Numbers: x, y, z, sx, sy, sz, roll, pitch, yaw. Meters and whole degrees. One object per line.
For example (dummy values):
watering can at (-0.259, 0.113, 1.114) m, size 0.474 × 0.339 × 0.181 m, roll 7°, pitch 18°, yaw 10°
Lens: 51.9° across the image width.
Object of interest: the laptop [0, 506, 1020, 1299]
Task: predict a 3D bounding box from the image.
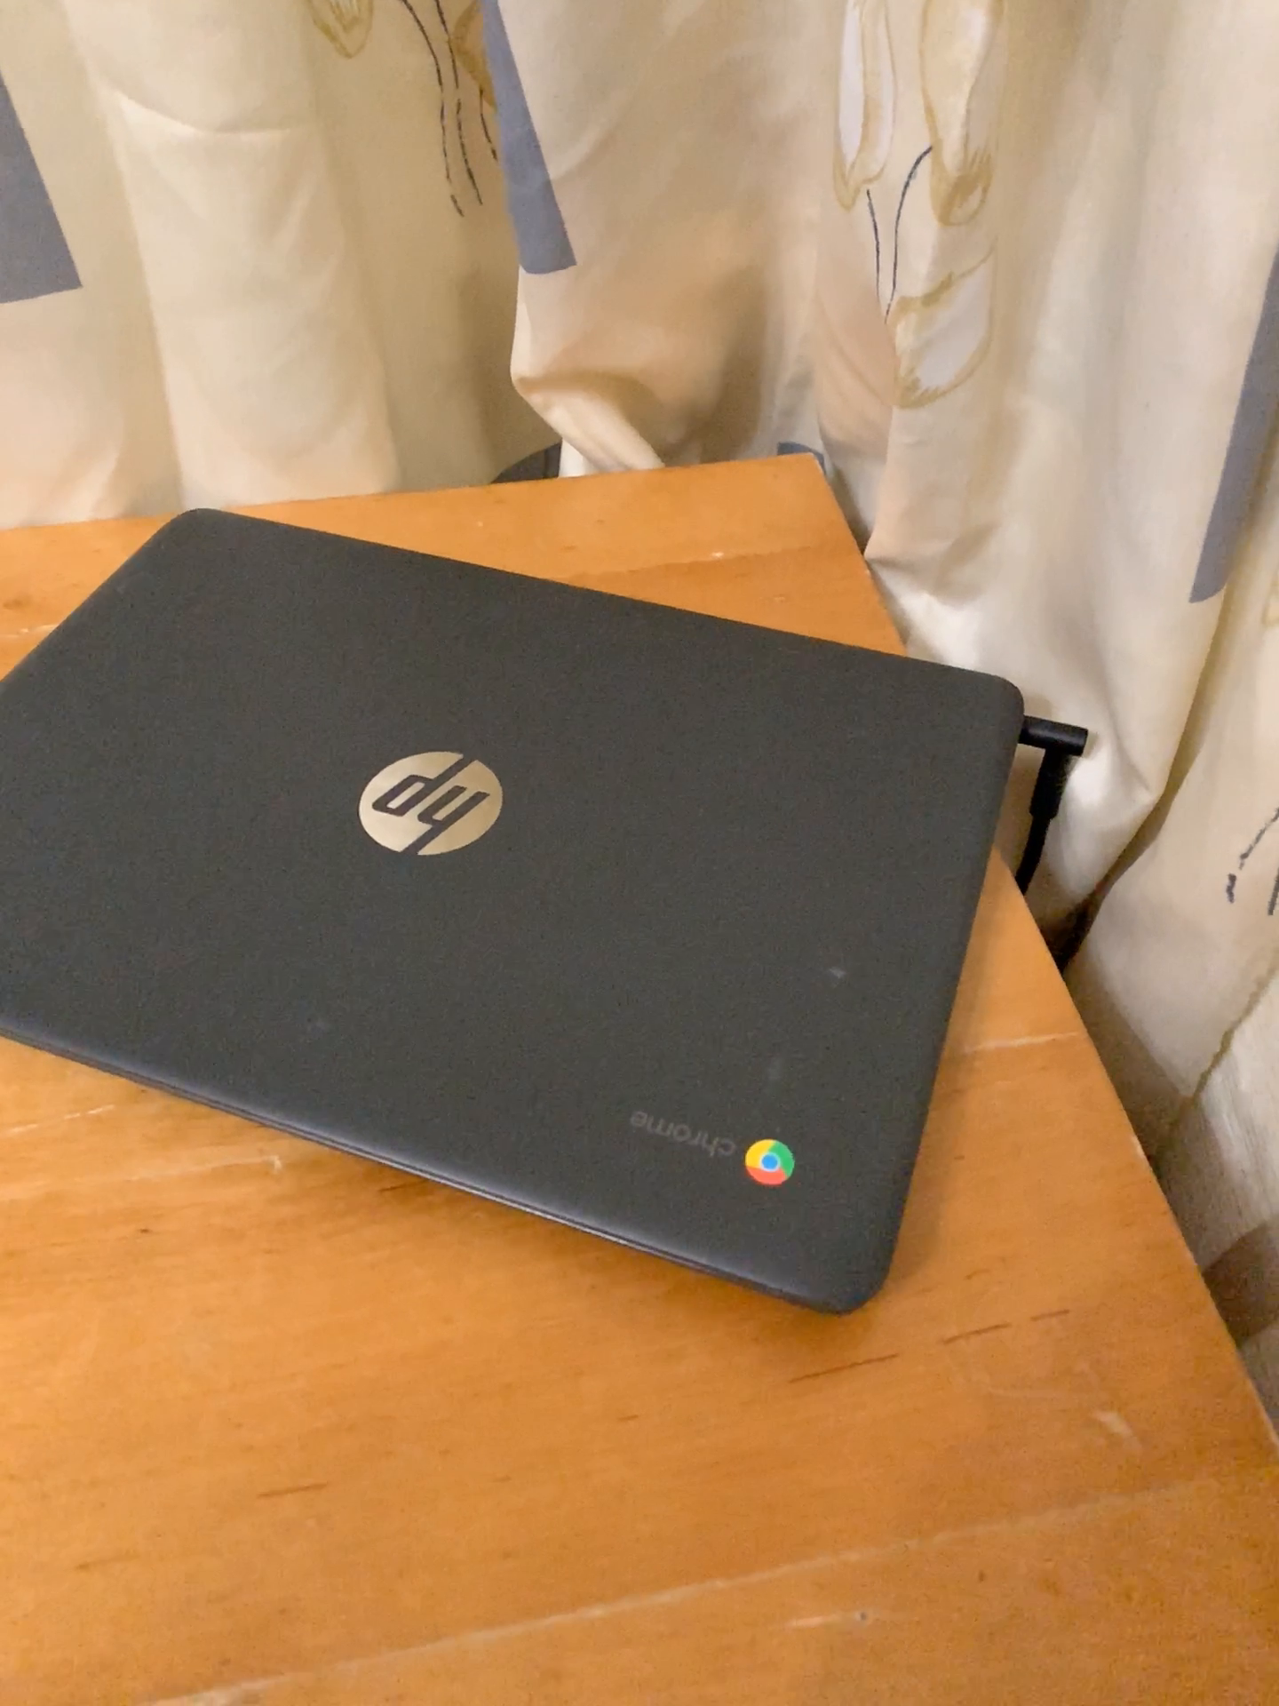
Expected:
laptop at (-0.051, -0.015, 0.330) m, size 0.261 × 0.004 × 0.186 m, roll 14°, pitch 48°, yaw 14°
